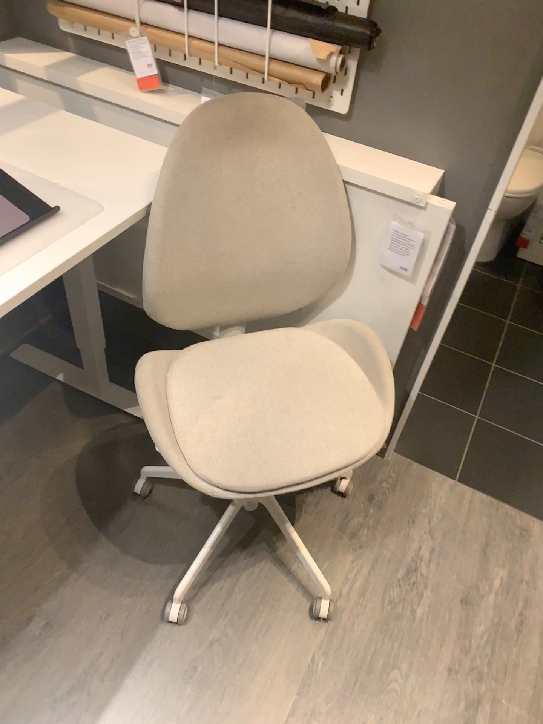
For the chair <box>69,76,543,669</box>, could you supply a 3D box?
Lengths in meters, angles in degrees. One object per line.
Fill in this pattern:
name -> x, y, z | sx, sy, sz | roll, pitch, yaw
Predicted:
chair -> 0.007, 0.059, 1.072 | 0.610, 0.936, 0.592 | -5, 46, -13
